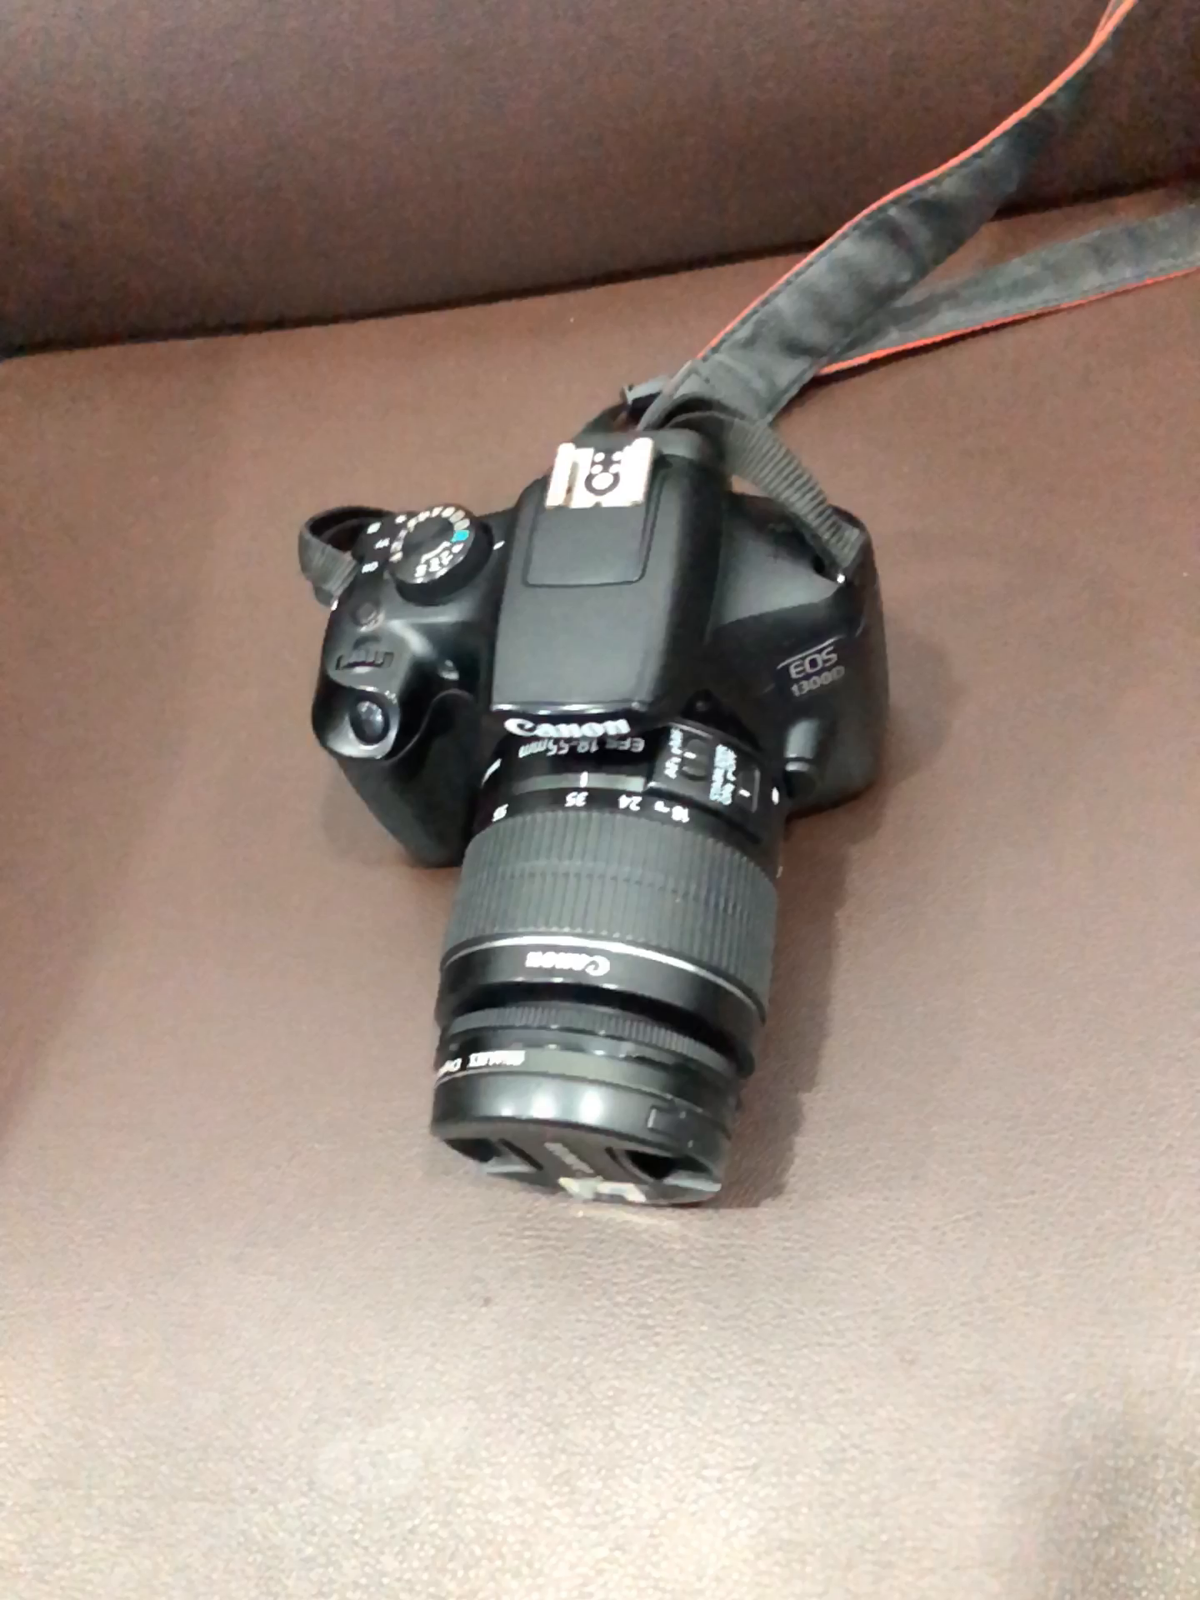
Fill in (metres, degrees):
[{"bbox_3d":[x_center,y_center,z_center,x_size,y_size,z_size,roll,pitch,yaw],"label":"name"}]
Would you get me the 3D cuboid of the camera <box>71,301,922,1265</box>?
[{"bbox_3d":[-0.002,-0.007,0.281,0.130,0.090,0.171,0,58,15],"label":"camera"}]
